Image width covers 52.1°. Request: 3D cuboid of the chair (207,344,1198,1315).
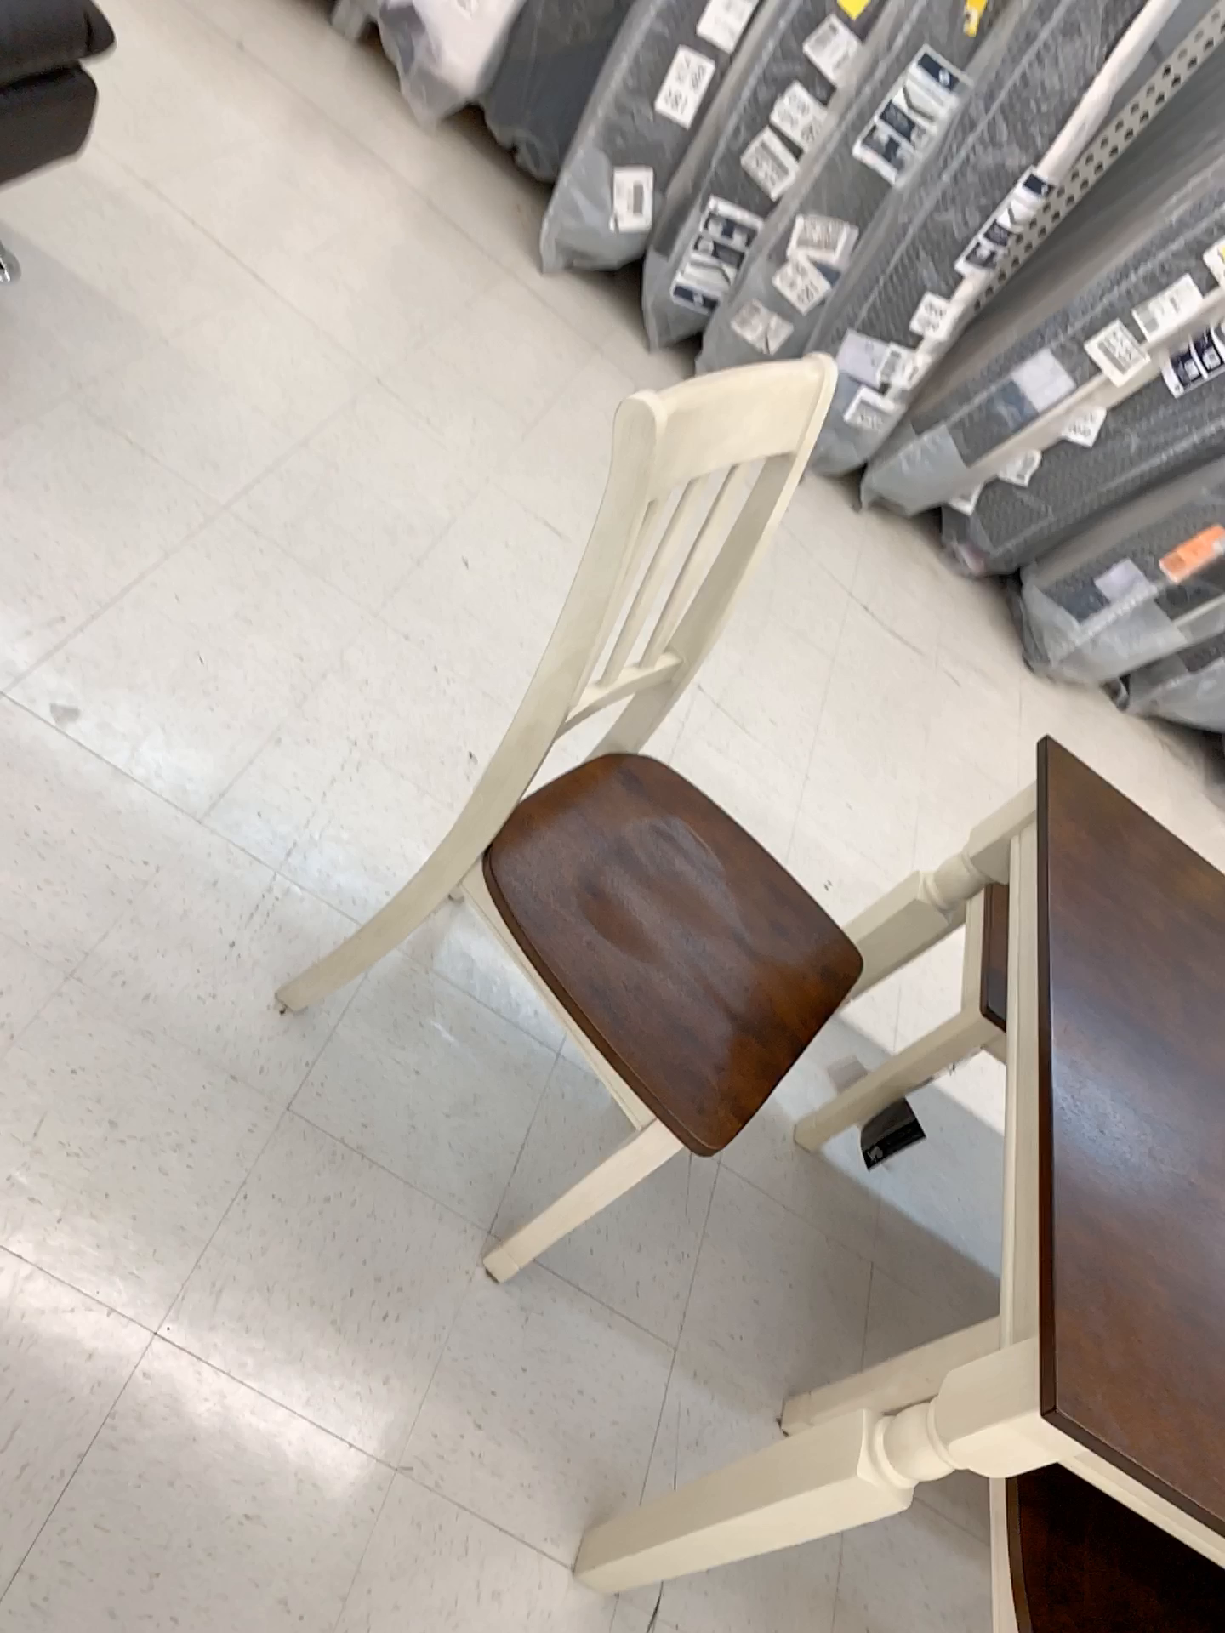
[{"bbox_3d":[0.068,0.035,1.462,0.570,0.905,0.533,47,38,4],"label":"chair"}]
